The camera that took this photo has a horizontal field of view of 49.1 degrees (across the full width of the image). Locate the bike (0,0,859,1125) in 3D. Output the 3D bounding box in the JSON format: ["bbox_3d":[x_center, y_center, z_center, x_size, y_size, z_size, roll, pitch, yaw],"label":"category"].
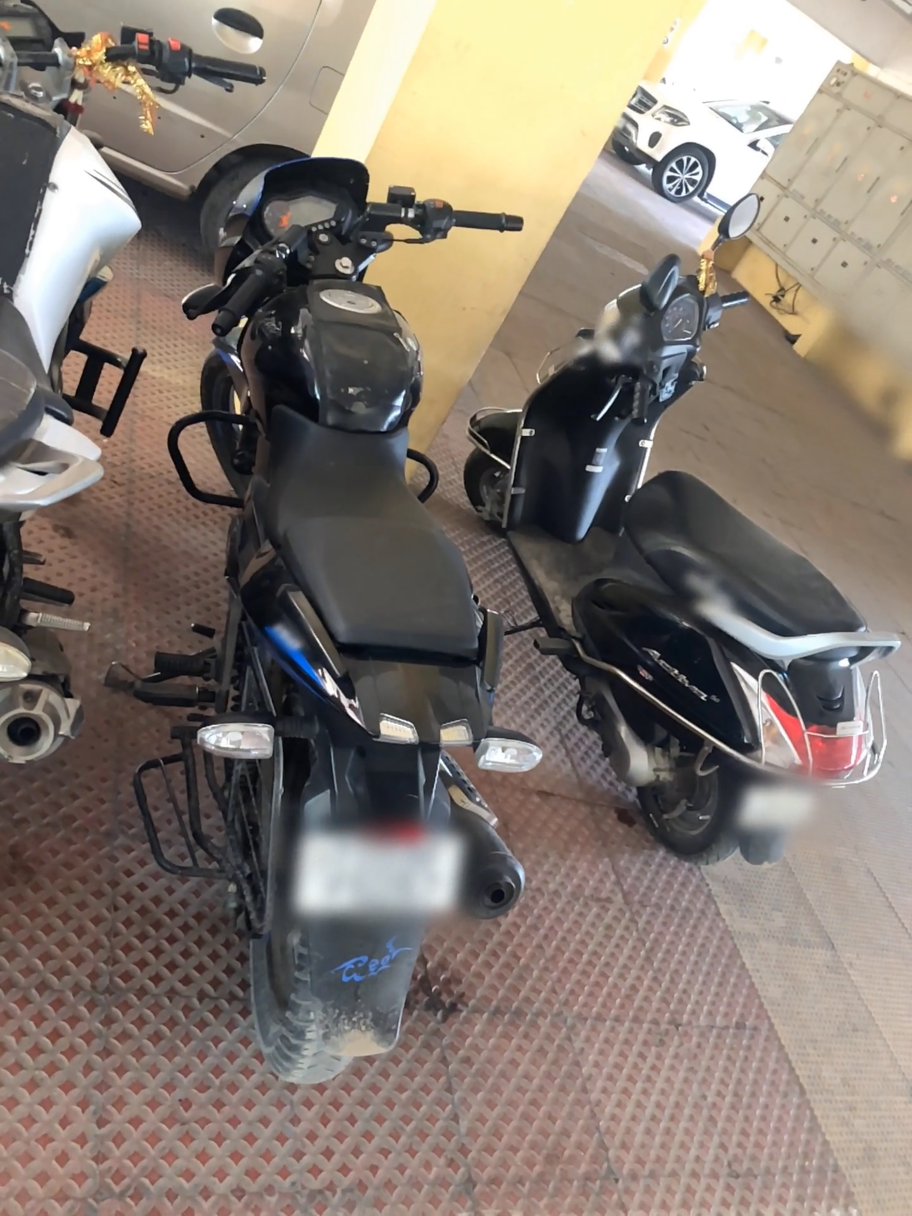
[{"bbox_3d":[-0.401,-0.250,1.794,0.746,0.989,1.850,14,33,-30],"label":"bike"}]

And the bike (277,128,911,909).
[{"bbox_3d":[0.310,-0.283,2.745,0.714,1.222,1.718,8,37,-37],"label":"bike"}]
